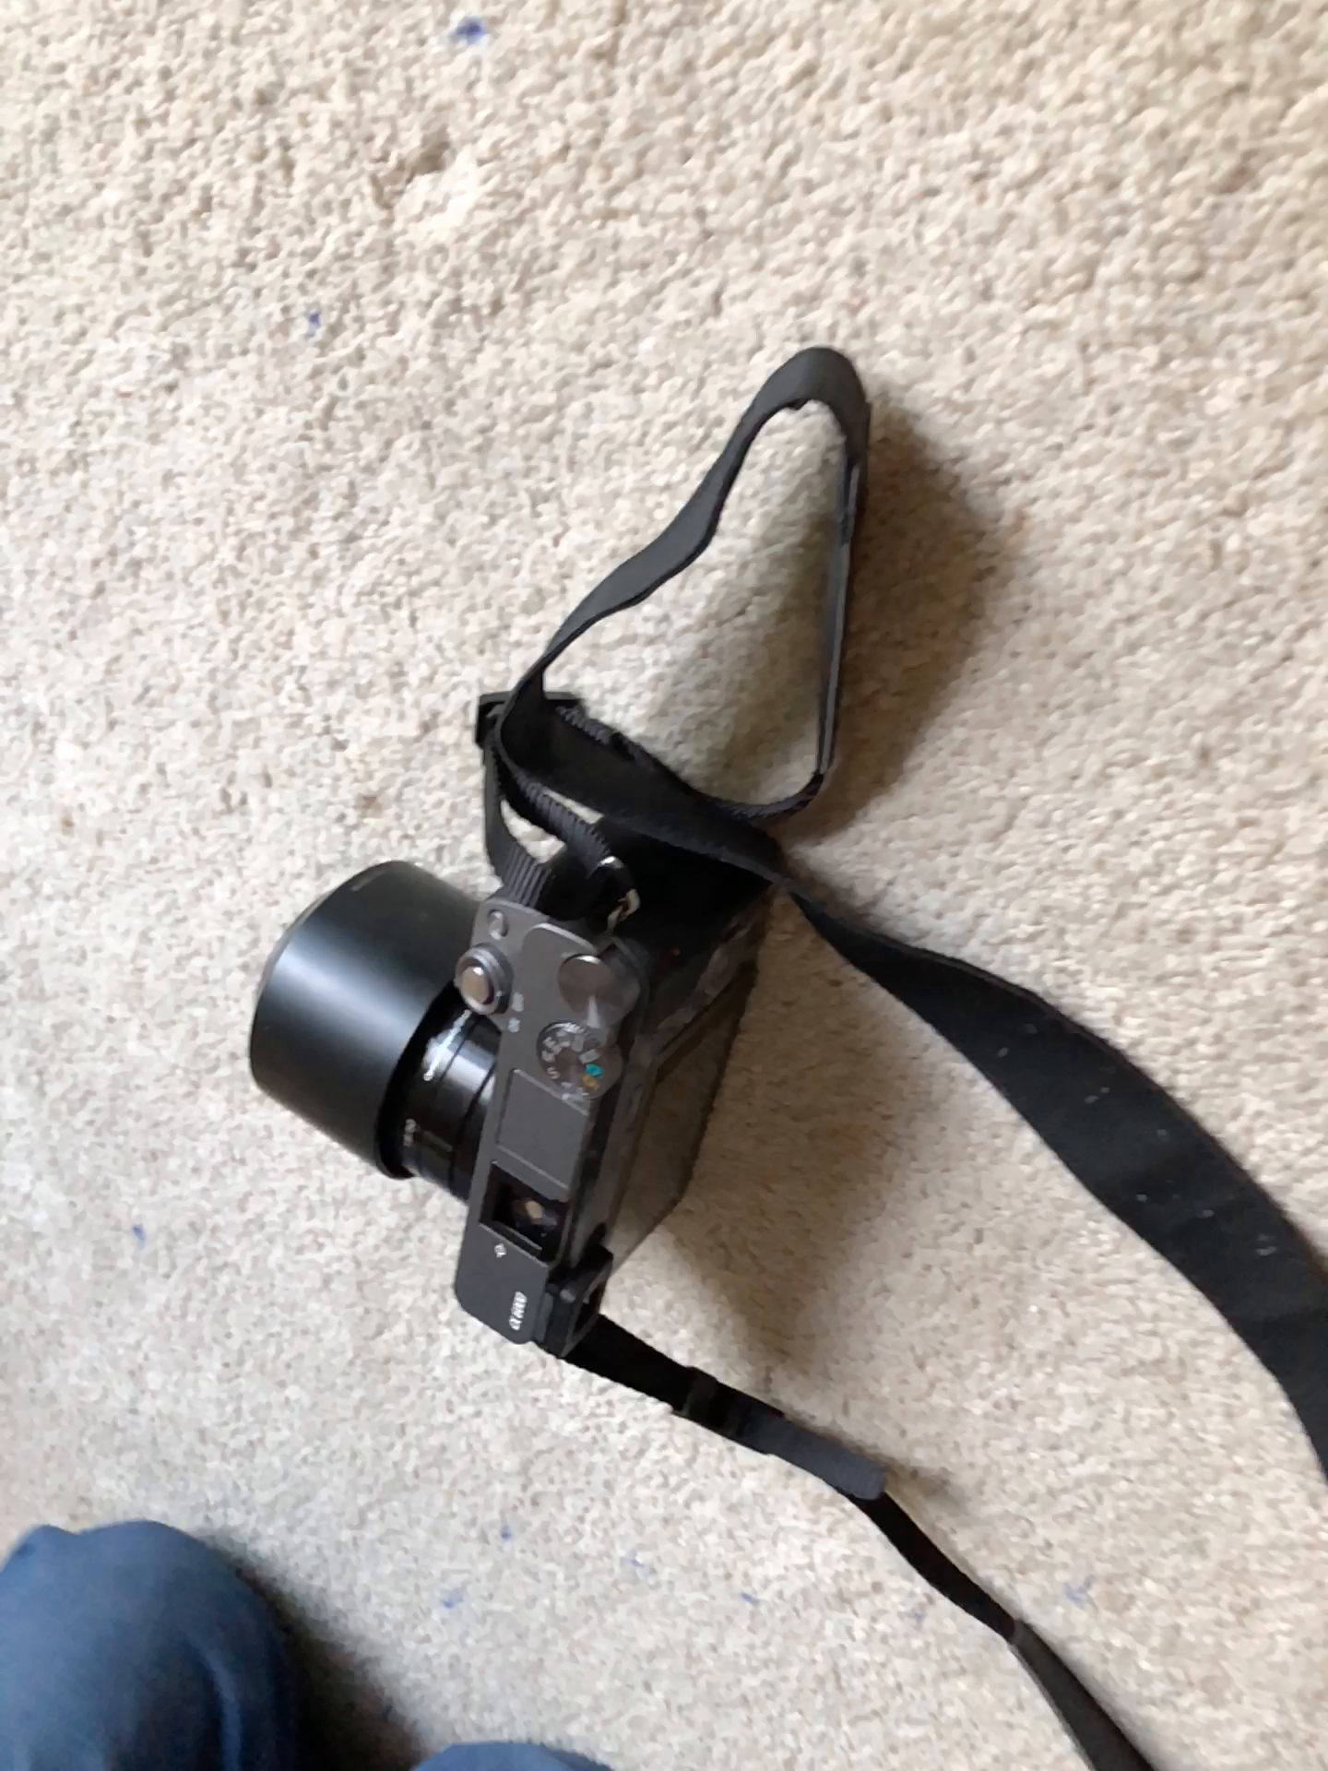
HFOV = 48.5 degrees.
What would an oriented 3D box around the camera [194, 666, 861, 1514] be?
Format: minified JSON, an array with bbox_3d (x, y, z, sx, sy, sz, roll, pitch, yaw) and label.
[{"bbox_3d":[-0.038,0.044,0.331,0.110,0.070,0.141,27,125,20],"label":"camera"}]
